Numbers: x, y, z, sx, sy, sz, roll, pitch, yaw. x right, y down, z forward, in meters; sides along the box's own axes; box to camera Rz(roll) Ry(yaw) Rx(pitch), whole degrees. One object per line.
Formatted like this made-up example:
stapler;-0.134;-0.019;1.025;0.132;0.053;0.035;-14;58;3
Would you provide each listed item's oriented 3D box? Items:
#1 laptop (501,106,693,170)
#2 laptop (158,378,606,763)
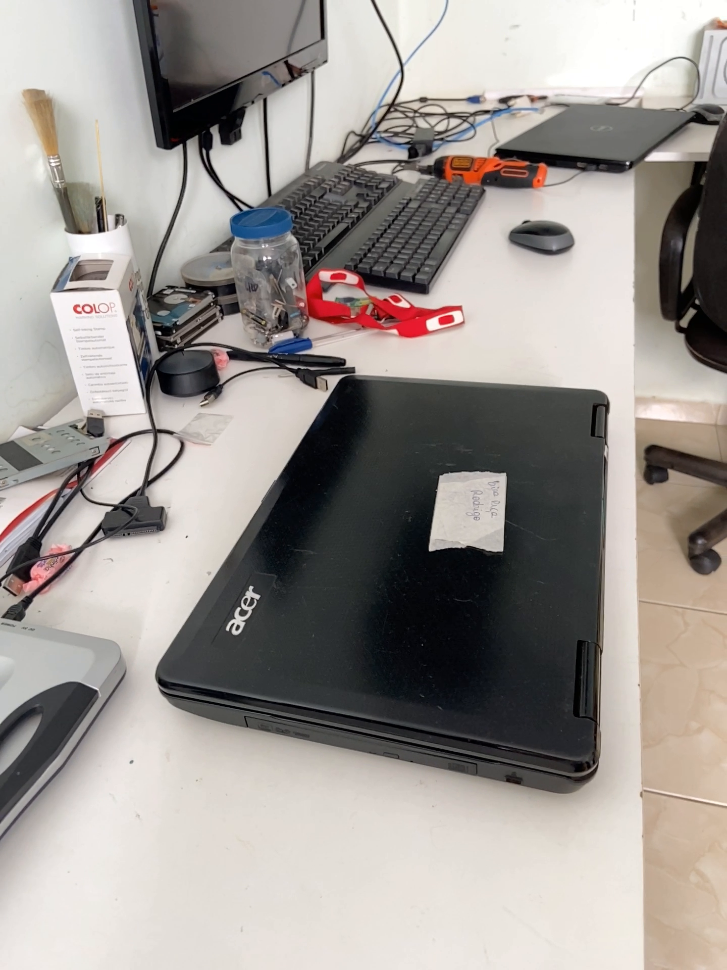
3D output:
laptop;0.463;-0.688;1.466;0.243;0.011;0.313;23;48;29
laptop;0.045;0.018;0.536;0.238;0.005;0.358;6;38;15
